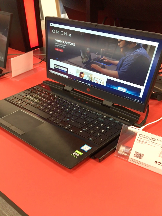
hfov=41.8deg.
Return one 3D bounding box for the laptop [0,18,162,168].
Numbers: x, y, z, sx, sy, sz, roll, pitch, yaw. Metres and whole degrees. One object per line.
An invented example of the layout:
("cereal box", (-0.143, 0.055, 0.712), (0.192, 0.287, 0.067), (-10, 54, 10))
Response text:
("laptop", (-0.060, -0.073, 0.544), (0.369, 0.220, 0.300), (28, 48, 33))
